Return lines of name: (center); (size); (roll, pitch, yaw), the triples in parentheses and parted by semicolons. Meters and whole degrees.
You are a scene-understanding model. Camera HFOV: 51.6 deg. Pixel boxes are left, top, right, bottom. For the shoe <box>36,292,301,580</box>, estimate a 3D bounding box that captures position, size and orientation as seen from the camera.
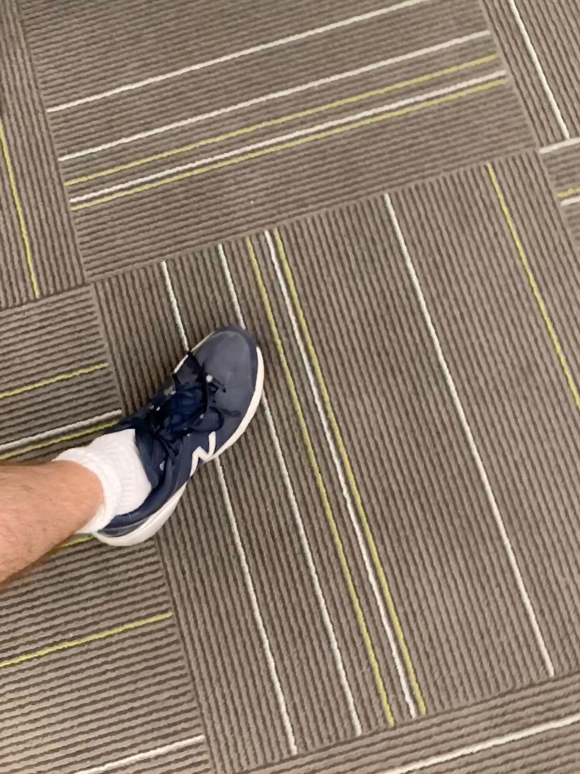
shoe: (-0.135, 0.055, 0.711); (0.130, 0.070, 0.310); (37, 84, 8)
